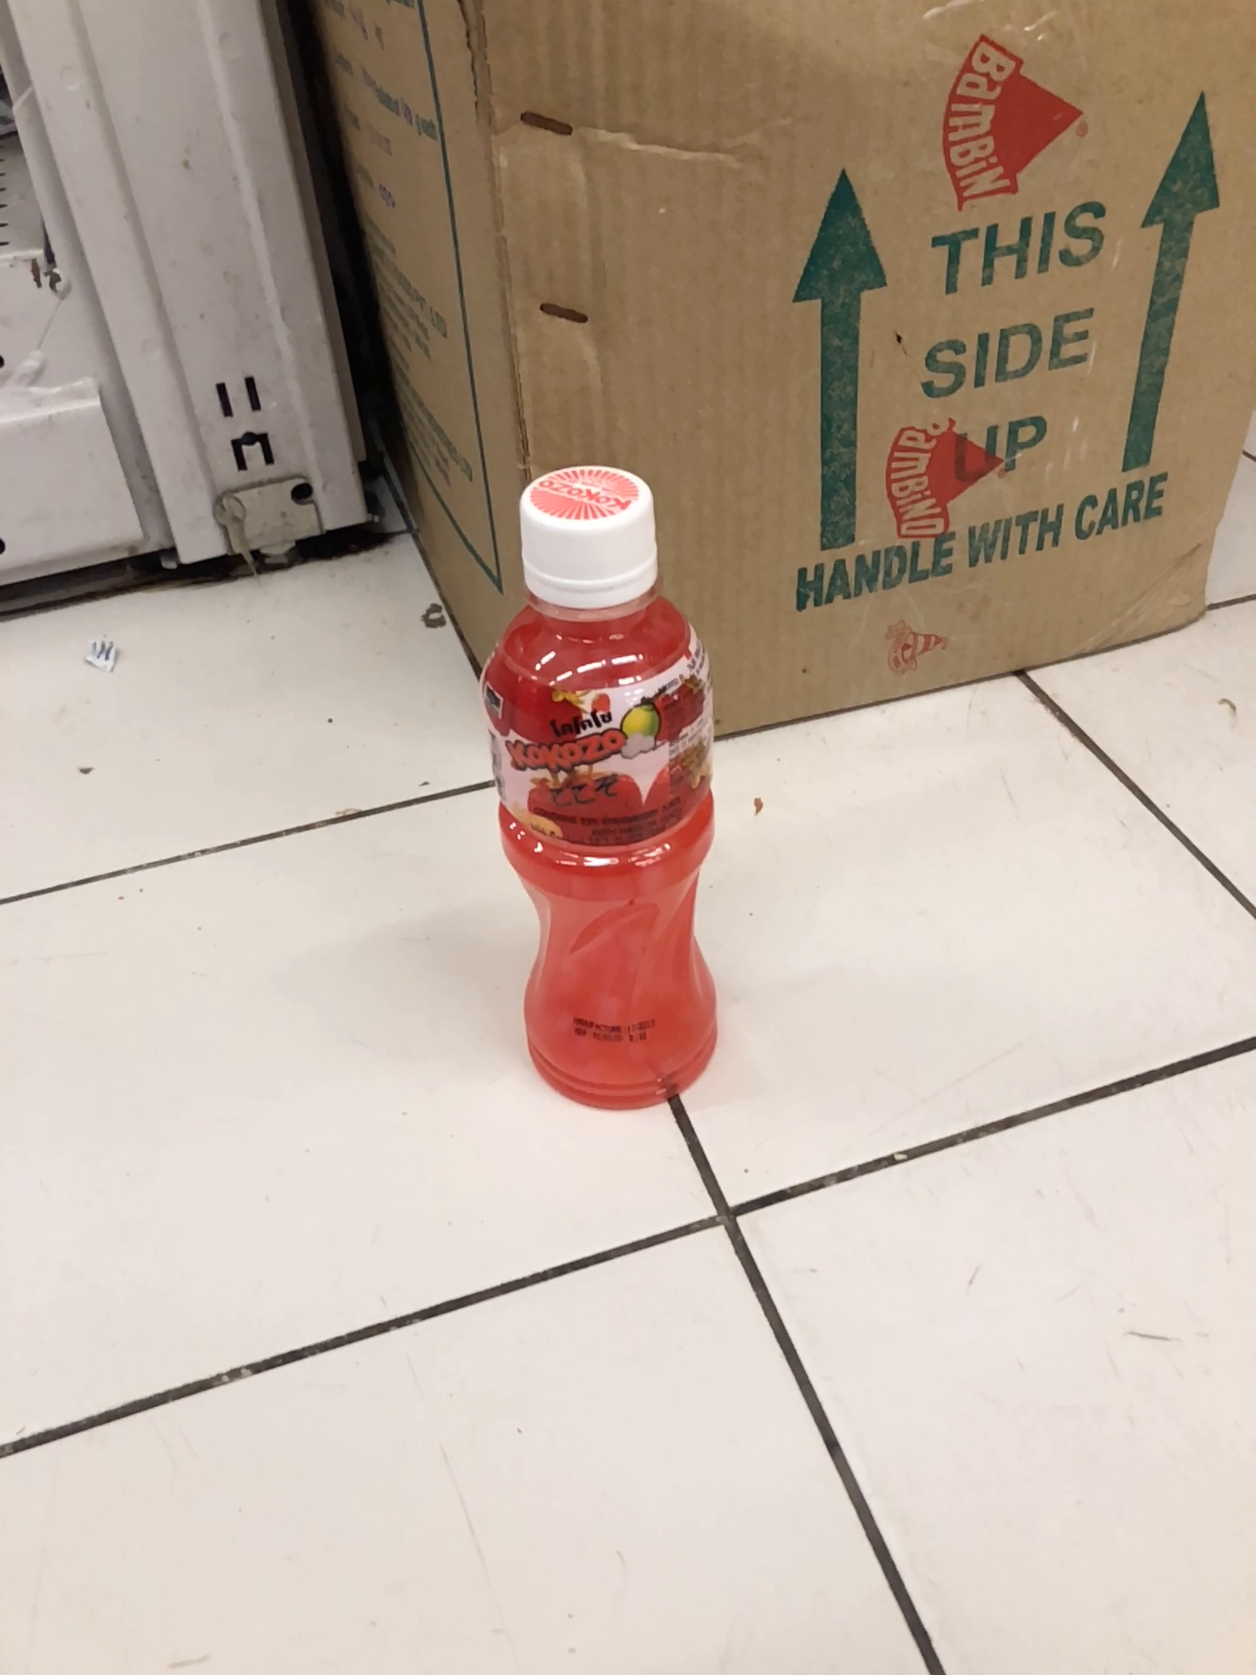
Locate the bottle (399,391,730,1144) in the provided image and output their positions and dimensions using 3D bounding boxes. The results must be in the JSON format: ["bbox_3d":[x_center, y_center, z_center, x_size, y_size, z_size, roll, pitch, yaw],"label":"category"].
[{"bbox_3d":[-0.011,-0.009,0.361,0.060,0.189,0.060,-2,41,2],"label":"bottle"}]
